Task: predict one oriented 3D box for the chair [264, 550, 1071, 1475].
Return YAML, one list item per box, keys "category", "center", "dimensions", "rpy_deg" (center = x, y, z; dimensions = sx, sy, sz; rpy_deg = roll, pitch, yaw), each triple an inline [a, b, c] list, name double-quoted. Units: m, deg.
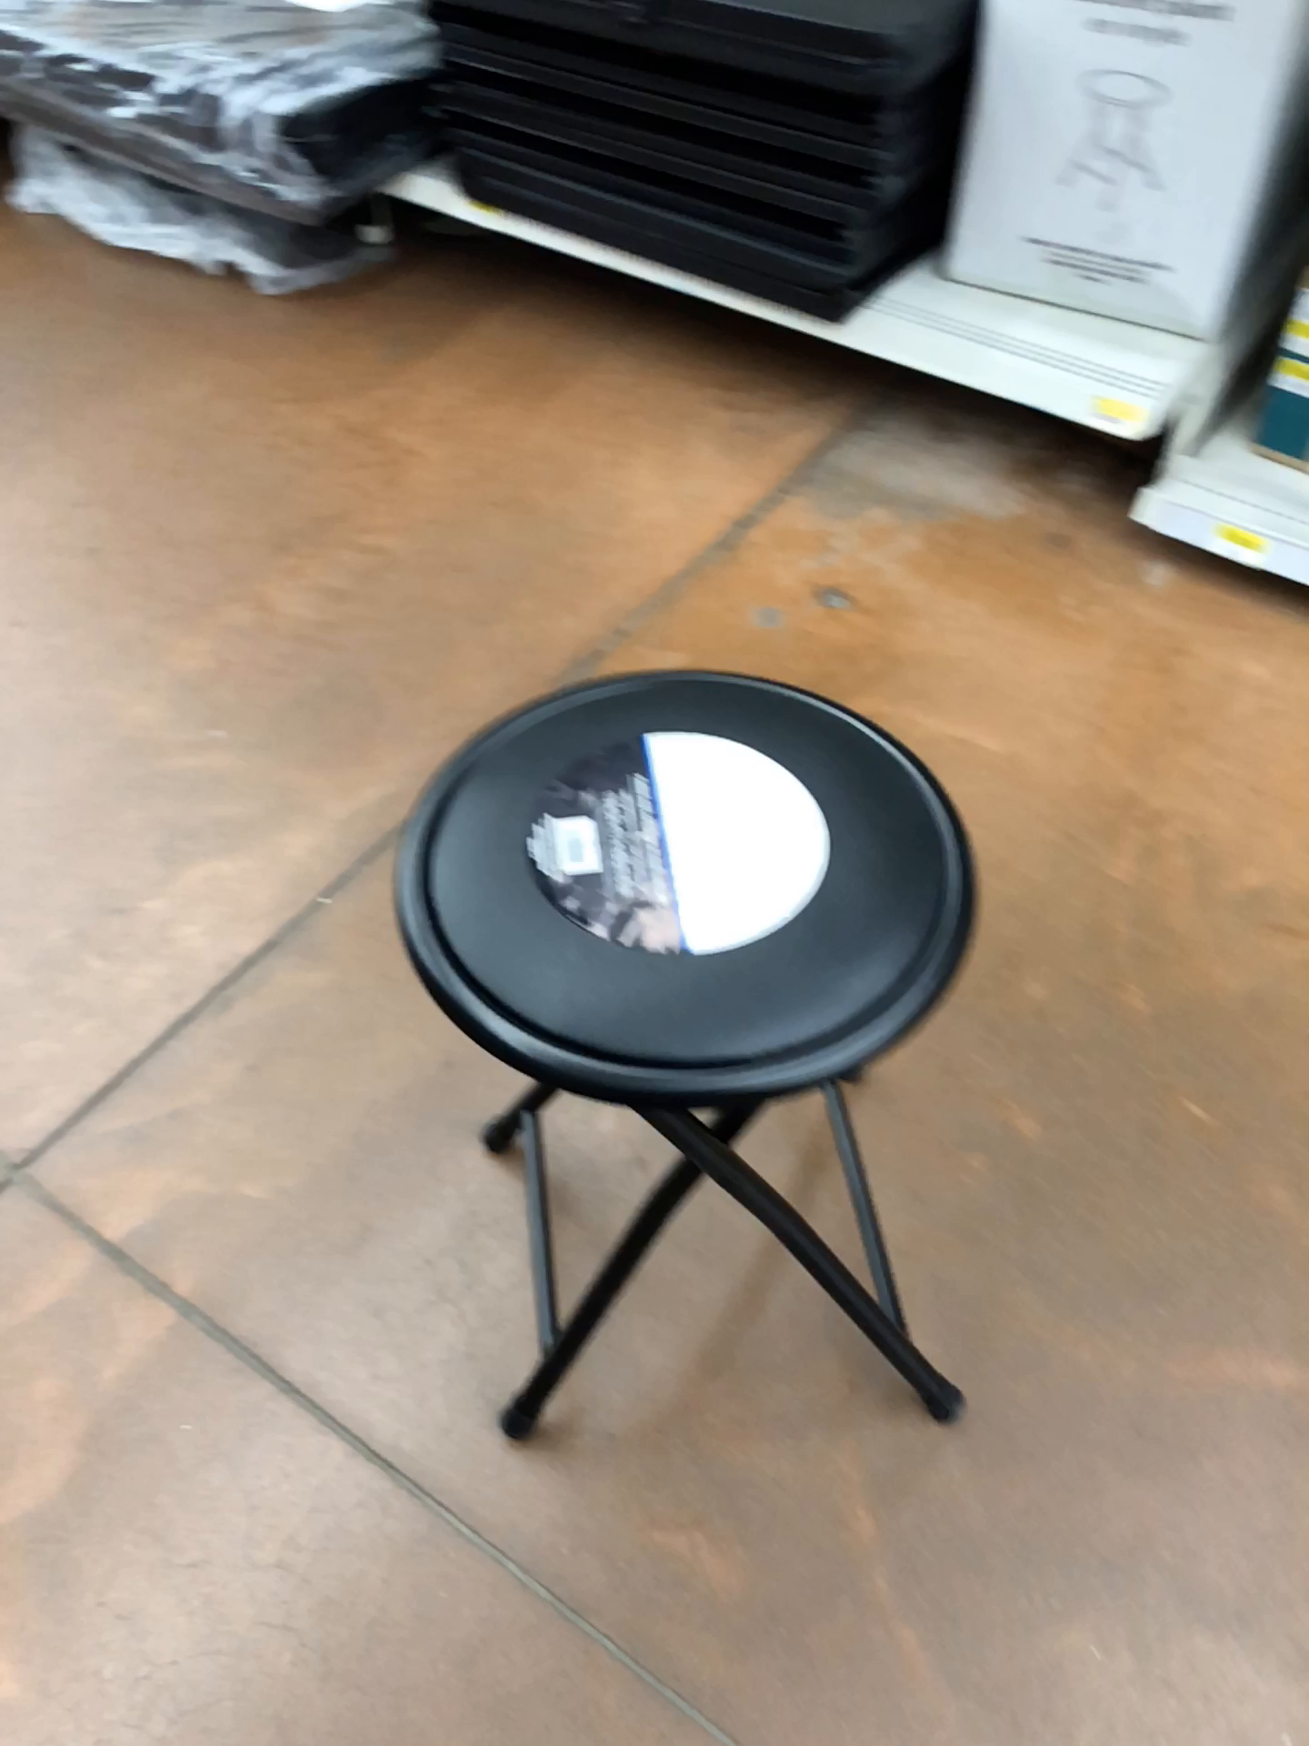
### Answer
- category: "chair"
  center: [-0.012, 0.089, 0.839]
  dimensions: [0.330, 0.399, 0.321]
  rpy_deg: [-7, 48, -5]
